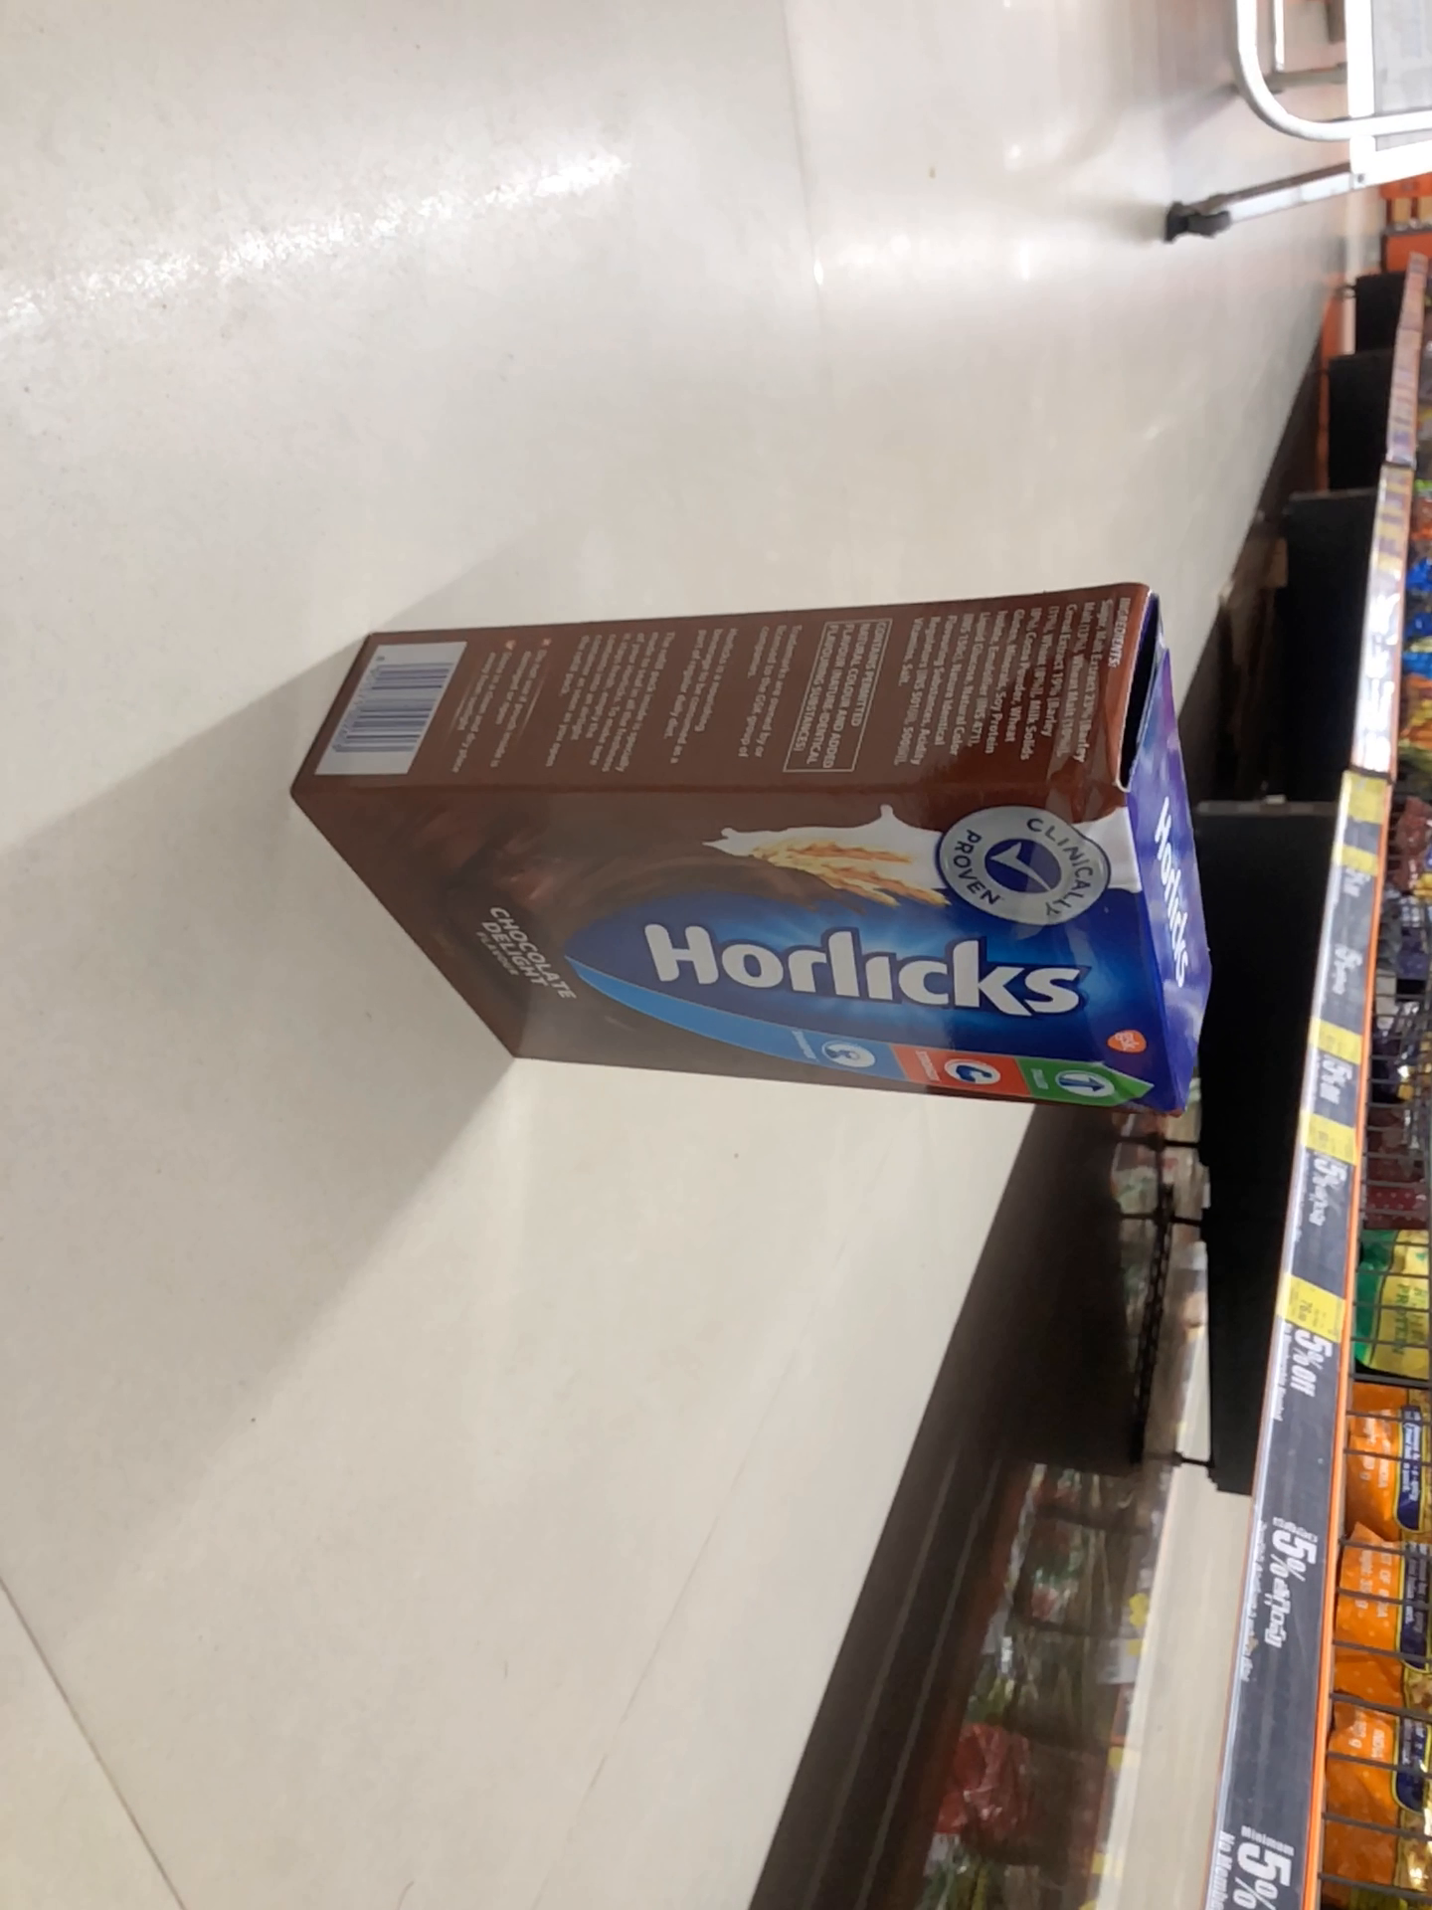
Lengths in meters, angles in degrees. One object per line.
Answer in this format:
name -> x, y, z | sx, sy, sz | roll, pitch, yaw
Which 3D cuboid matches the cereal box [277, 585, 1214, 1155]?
cereal box -> 0.017, -0.015, 0.408 | 0.141, 0.199, 0.060 | 61, 37, -50
